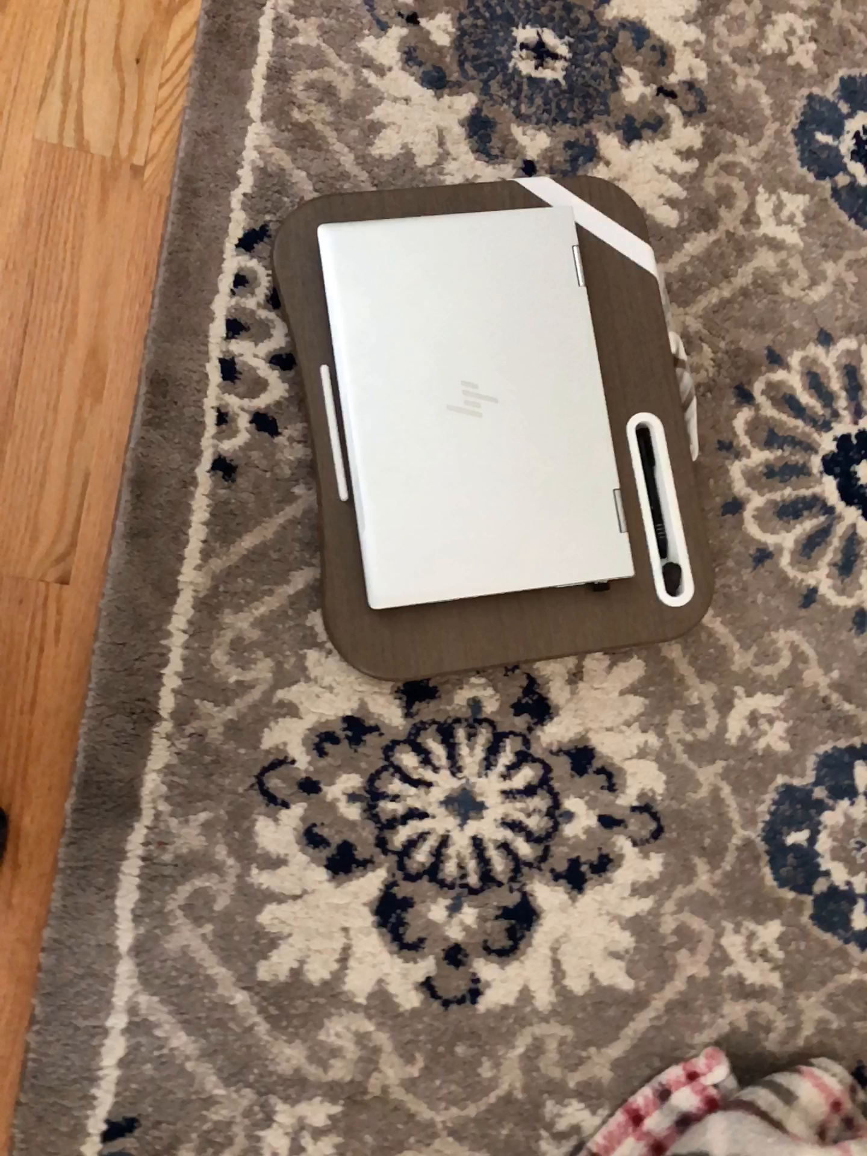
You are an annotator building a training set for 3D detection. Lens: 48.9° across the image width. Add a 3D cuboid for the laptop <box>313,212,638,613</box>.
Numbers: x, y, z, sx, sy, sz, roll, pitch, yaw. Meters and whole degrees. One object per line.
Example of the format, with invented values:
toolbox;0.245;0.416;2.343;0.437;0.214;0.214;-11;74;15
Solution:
laptop;0.036;-0.158;0.868;0.241;0.026;0.354;-7;82;-10
